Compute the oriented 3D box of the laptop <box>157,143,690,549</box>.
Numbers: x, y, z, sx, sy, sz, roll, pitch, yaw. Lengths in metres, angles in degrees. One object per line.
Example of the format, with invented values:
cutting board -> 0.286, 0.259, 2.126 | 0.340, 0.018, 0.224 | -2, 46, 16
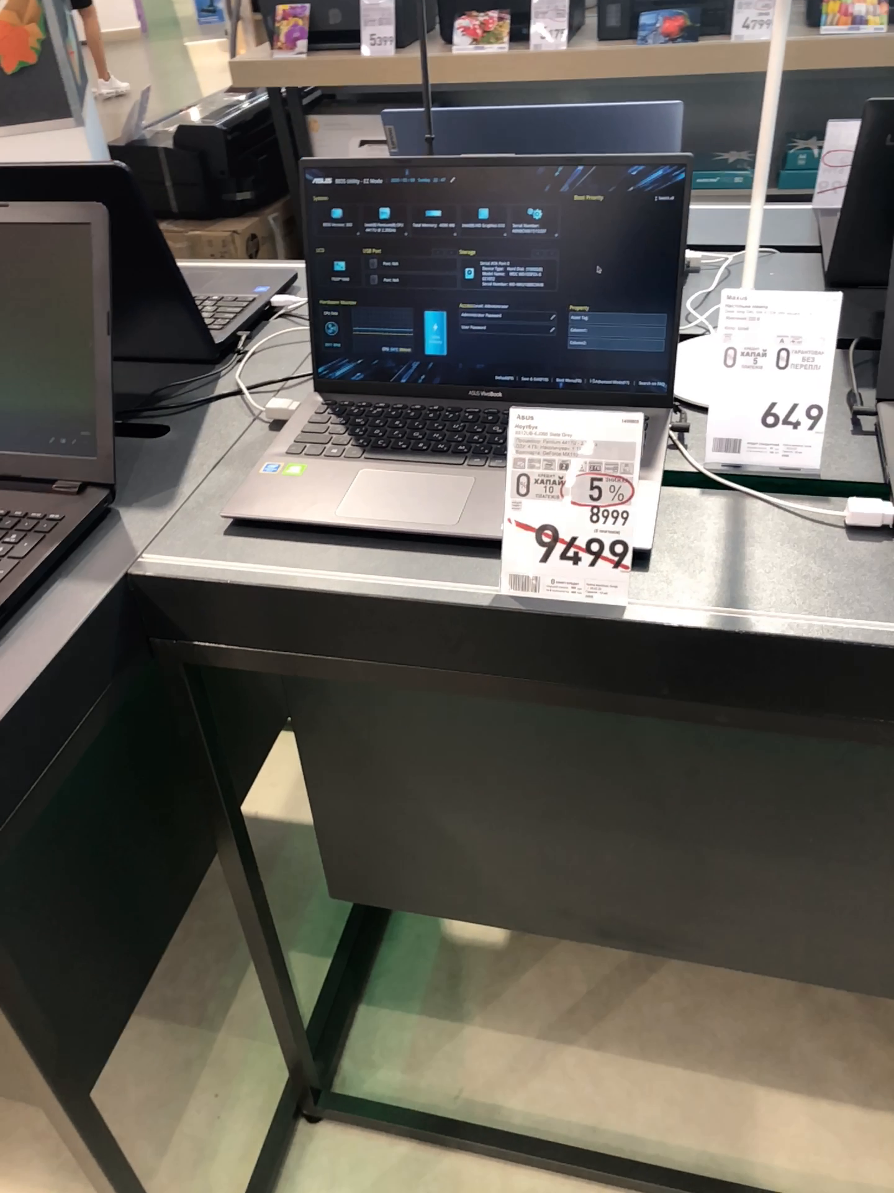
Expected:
laptop -> 0.005, -0.221, 0.815 | 0.355, 0.200, 0.288 | 5, 39, 16
